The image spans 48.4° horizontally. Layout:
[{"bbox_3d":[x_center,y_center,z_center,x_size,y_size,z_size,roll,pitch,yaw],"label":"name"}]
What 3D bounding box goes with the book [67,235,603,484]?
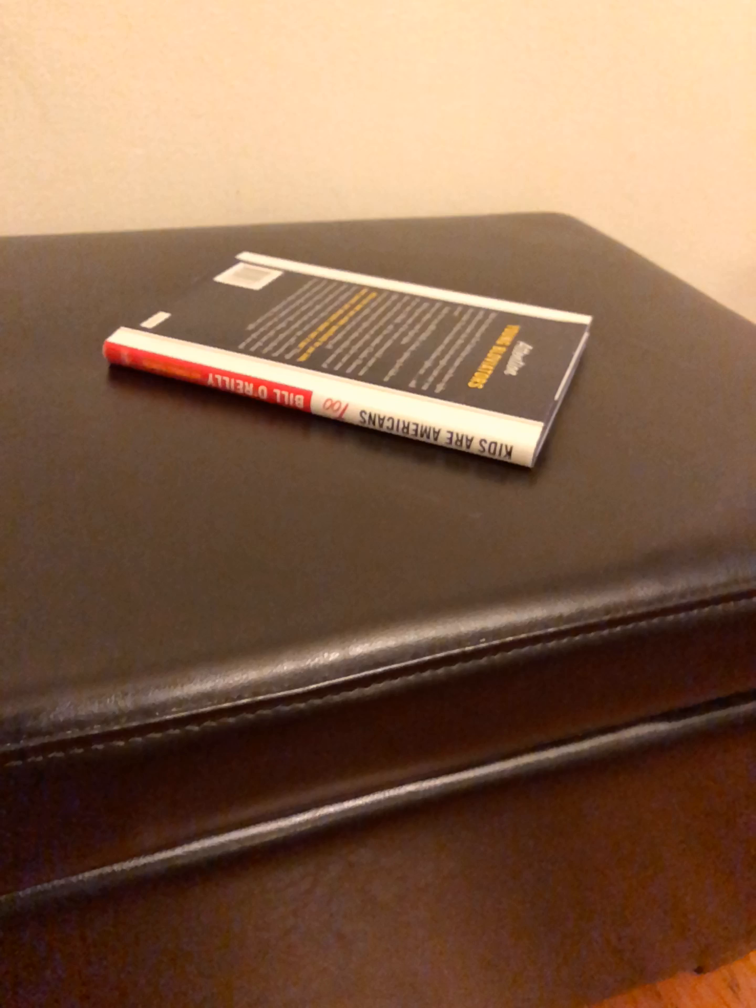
[{"bbox_3d":[-0.011,-0.087,0.435,0.230,0.020,0.161,15,37,14],"label":"book"}]
